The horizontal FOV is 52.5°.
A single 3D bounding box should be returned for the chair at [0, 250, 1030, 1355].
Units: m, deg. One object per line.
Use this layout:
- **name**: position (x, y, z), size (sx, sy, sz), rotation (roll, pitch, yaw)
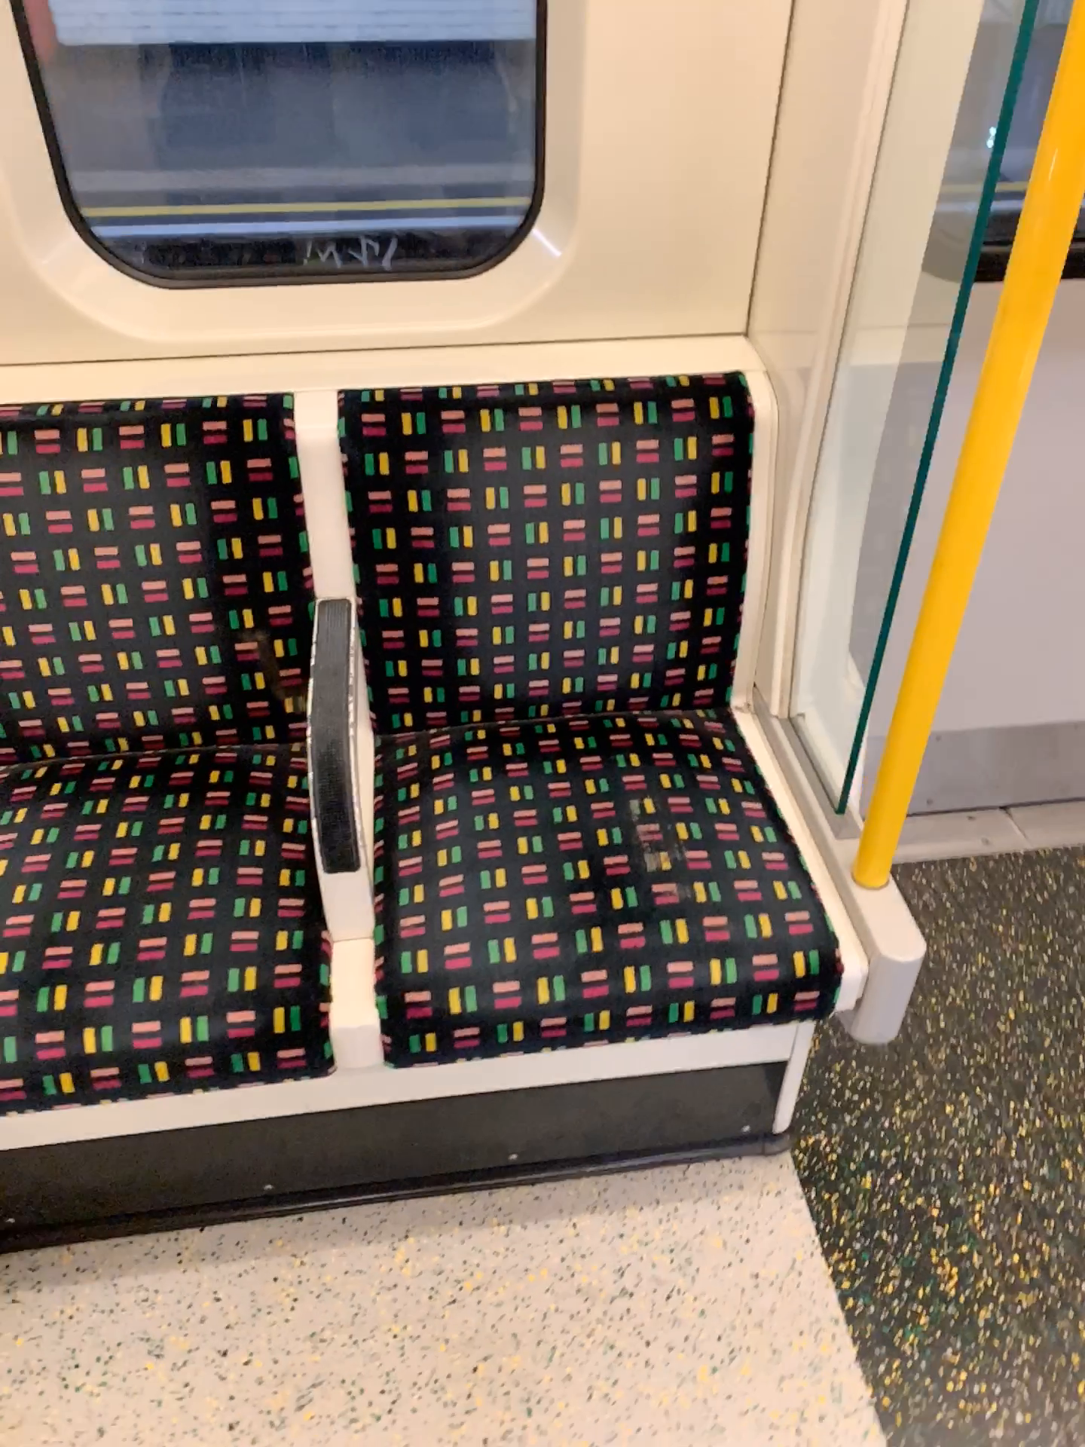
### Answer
- **chair**: position (-0.262, 0.003, 1.278), size (1.060, 0.763, 0.919), rotation (-5, 39, -7)
